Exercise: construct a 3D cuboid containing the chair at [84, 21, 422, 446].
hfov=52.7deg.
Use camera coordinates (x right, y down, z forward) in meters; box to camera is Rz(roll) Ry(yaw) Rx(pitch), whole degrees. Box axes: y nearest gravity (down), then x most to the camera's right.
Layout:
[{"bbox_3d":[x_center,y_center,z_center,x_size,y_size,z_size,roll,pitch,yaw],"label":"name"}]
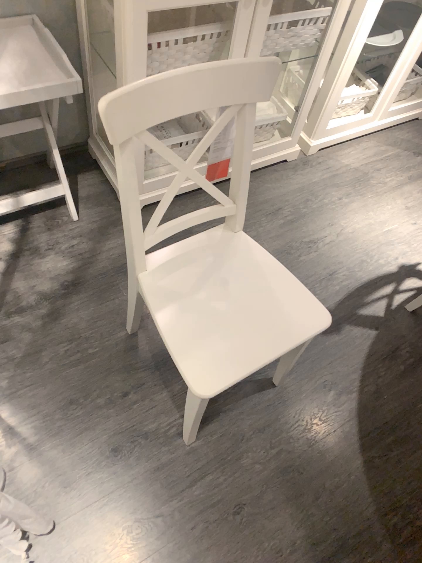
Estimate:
[{"bbox_3d":[0.044,-0.032,1.039,0.441,0.858,0.491,-25,65,-23],"label":"chair"}]
